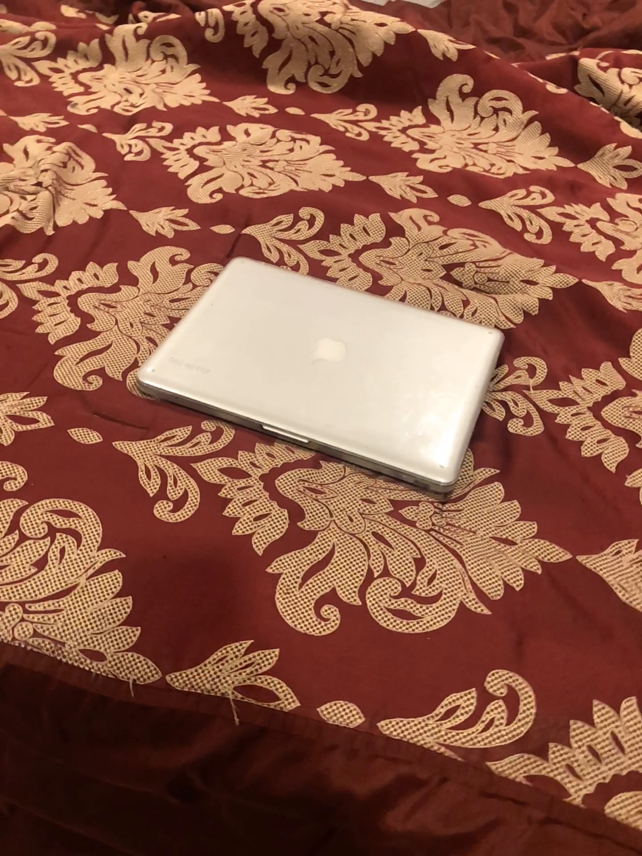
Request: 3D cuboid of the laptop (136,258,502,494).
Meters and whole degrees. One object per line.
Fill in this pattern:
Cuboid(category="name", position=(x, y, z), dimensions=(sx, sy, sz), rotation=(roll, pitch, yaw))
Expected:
Cuboid(category="laptop", position=(0.005, -0.067, 0.695), dimensions=(0.304, 0.015, 0.208), rotation=(18, 50, 14))
